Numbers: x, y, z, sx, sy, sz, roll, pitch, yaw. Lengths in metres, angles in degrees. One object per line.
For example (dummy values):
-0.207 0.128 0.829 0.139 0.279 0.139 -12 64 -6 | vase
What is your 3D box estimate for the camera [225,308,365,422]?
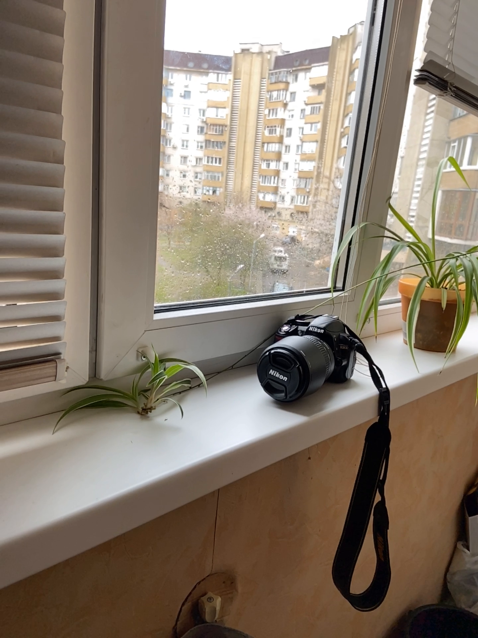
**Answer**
0.086 0.055 0.704 0.125 0.089 0.191 13 16 28 | camera
